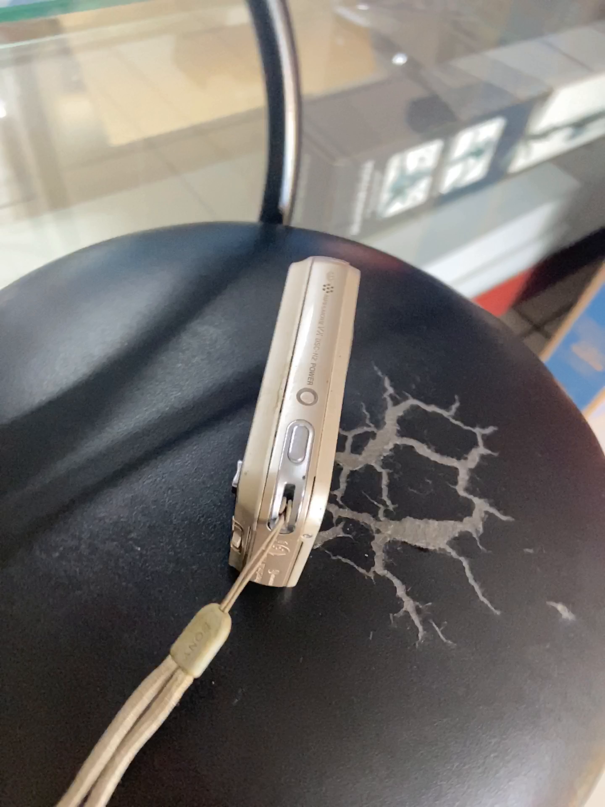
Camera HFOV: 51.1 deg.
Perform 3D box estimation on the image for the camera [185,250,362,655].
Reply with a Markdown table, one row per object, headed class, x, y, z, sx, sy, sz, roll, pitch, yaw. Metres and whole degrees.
| class | x | y | z | sx | sy | sz | roll | pitch | yaw |
| --- | --- | --- | --- | --- | --- | --- | --- | --- | --- |
| camera | -0.008 | 0.013 | 0.202 | 0.030 | 0.060 | 0.111 | 12 | 53 | -1 |
